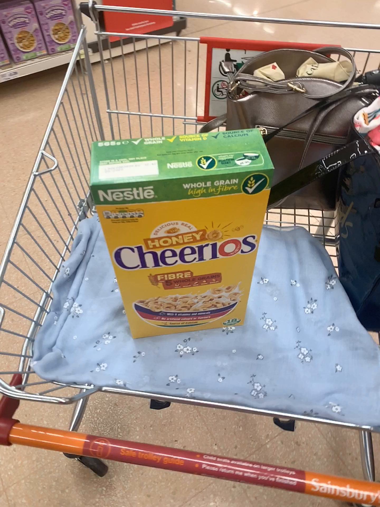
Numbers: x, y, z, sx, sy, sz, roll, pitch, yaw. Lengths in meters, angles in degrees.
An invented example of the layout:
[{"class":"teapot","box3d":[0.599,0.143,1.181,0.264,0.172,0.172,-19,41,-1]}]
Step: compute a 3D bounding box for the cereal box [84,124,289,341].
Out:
[{"class":"cereal box","box3d":[-0.007,-0.002,0.553,0.210,0.347,0.081,-6,52,-5]}]
